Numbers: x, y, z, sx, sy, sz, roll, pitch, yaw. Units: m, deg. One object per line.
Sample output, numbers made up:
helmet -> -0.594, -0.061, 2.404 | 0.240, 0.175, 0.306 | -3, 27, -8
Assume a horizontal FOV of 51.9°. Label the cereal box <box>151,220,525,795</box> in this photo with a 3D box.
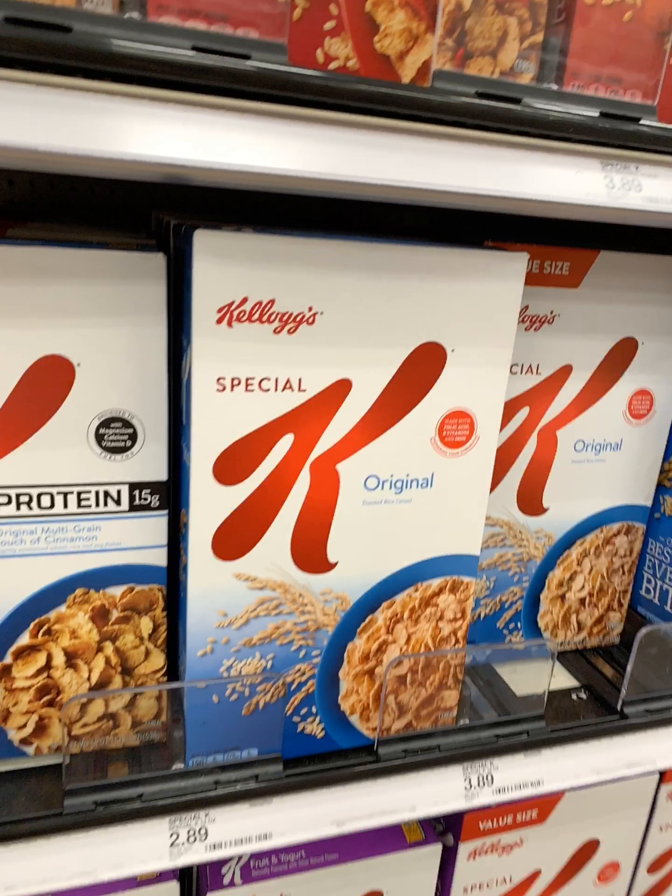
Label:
cereal box -> -0.010, 0.039, 0.415 | 0.190, 0.319, 0.060 | -1, 18, -19
